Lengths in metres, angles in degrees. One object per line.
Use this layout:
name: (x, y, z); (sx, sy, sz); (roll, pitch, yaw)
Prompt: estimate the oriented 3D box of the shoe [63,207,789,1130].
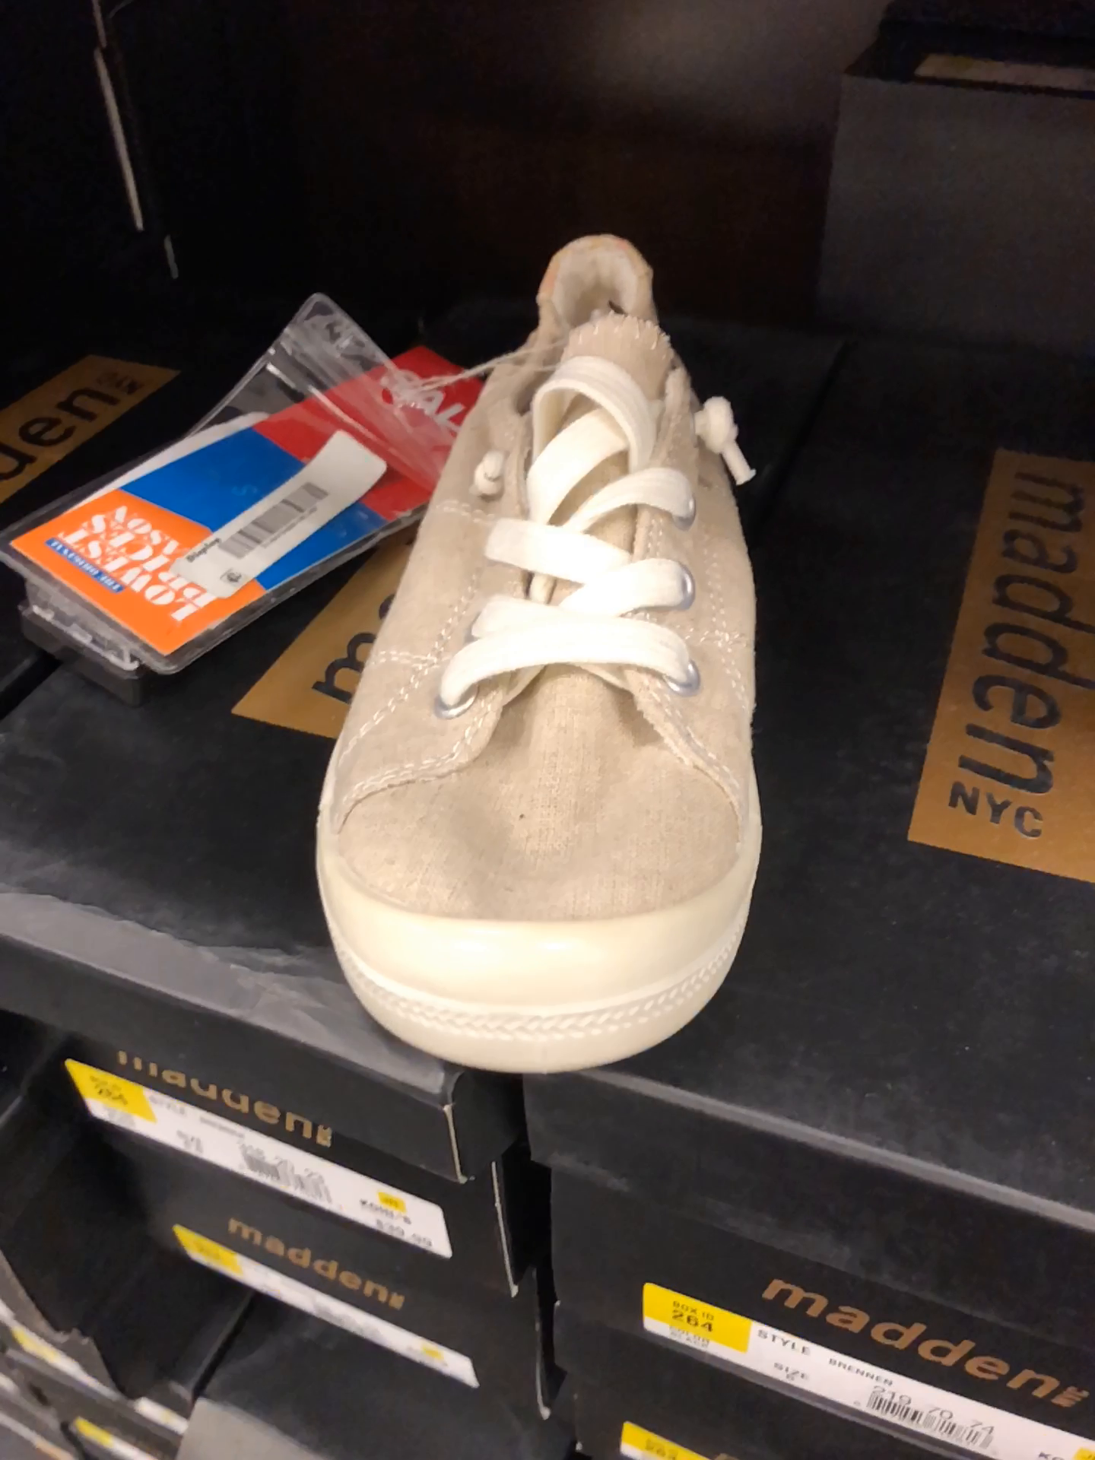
shoe: (-0.003, -0.035, 0.251); (0.090, 0.070, 0.210); (3, 41, 6)
